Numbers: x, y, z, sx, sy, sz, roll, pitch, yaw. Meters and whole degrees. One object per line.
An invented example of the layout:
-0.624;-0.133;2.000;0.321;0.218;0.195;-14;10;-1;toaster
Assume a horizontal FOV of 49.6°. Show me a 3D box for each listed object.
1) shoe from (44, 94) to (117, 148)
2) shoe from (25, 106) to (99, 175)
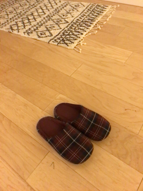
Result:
0.030;0.090;0.631;0.270;0.030;0.121;23;56;24;shoe
-0.043;0.152;0.588;0.271;0.030;0.121;31;60;29;shoe
